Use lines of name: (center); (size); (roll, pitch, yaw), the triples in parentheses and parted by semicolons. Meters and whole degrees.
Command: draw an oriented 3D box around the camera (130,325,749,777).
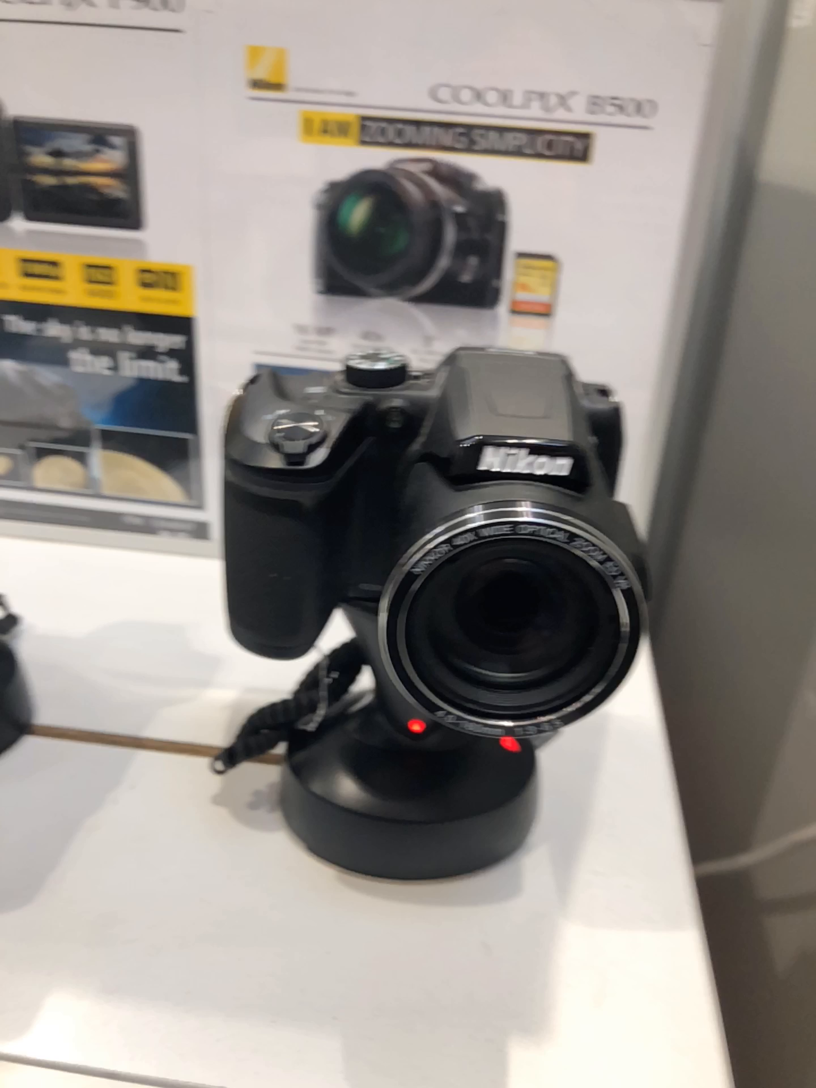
camera: (0.007, -0.006, 0.237); (0.120, 0.070, 0.101); (4, 28, 1)
